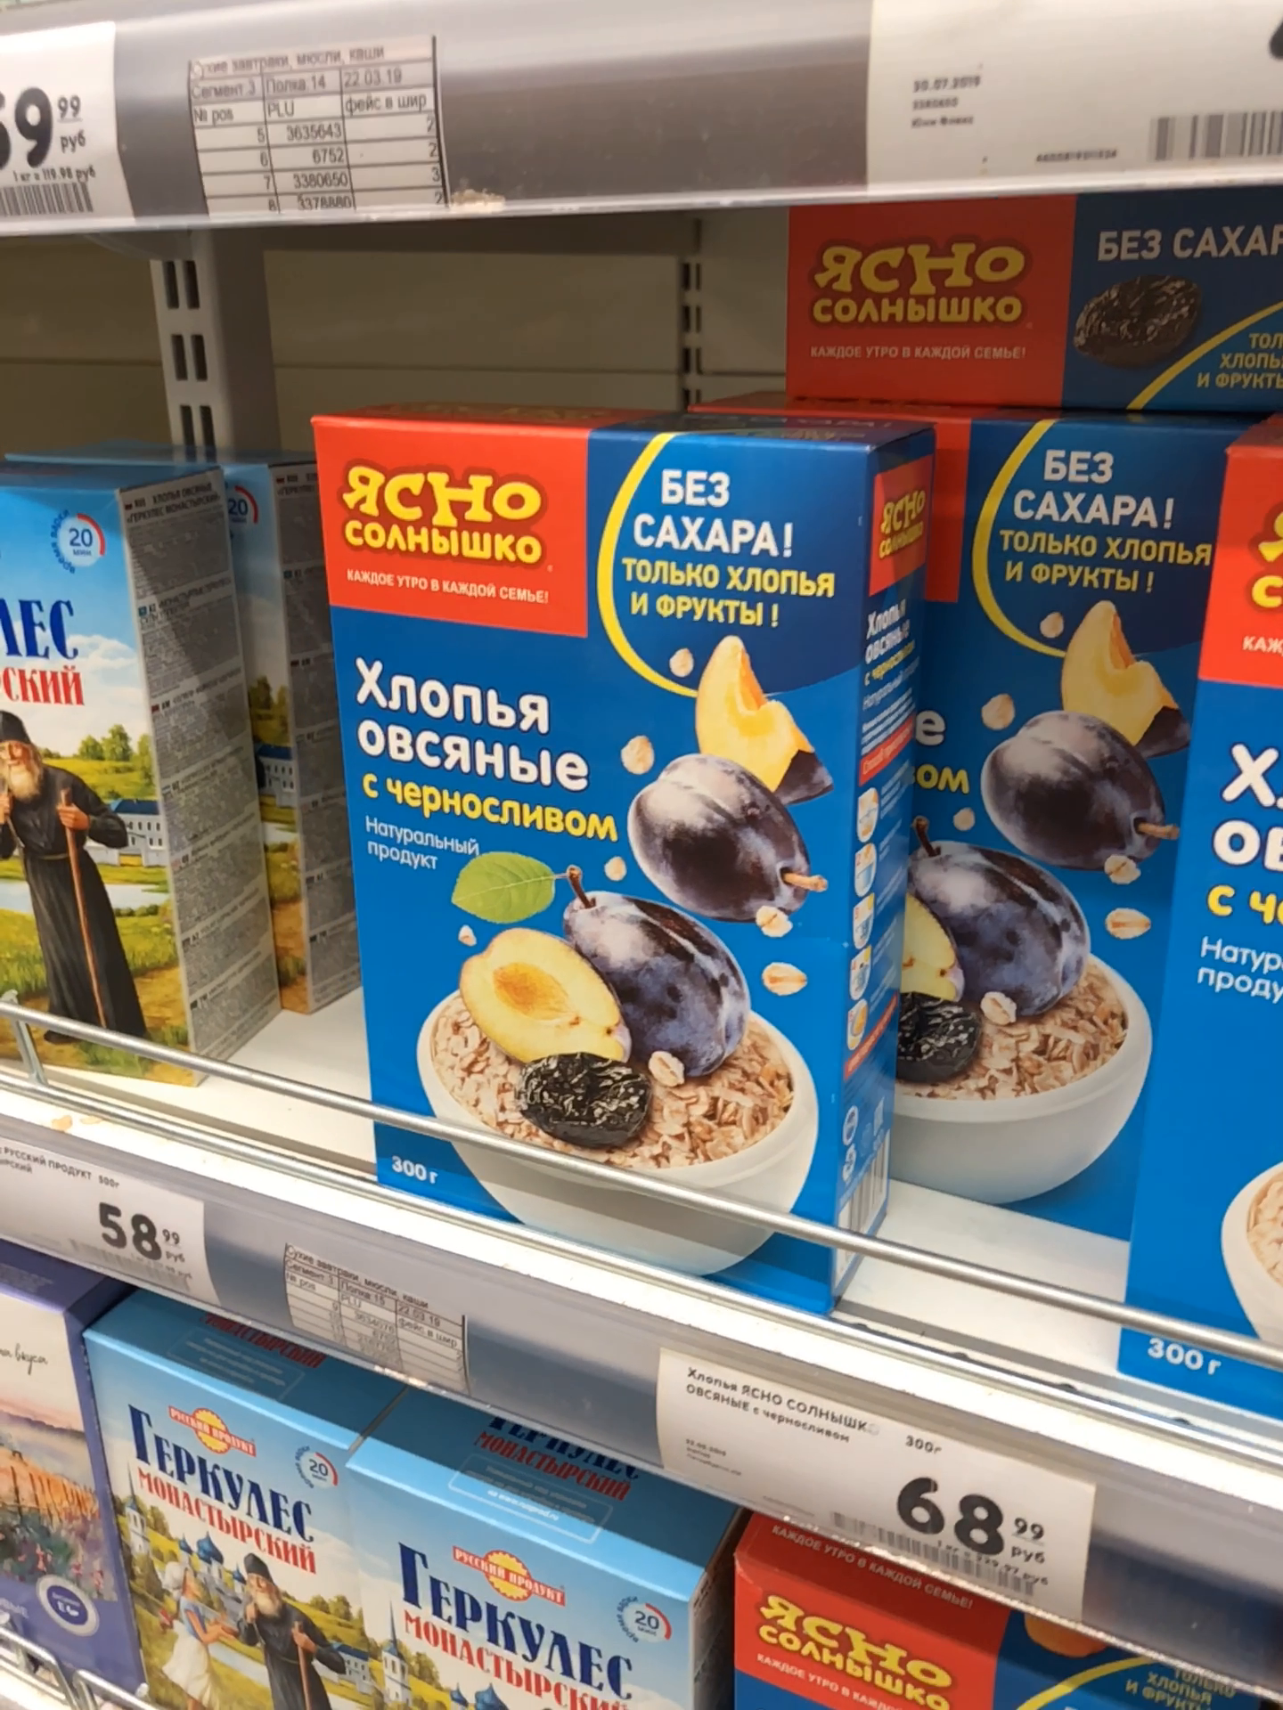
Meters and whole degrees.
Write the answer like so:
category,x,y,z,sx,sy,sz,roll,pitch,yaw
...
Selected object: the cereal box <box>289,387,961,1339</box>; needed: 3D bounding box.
category,x,y,z,sx,sy,sz,roll,pitch,yaw
cereal box,-0.004,-0.003,0.349,0.140,0.209,0.050,10,23,26
